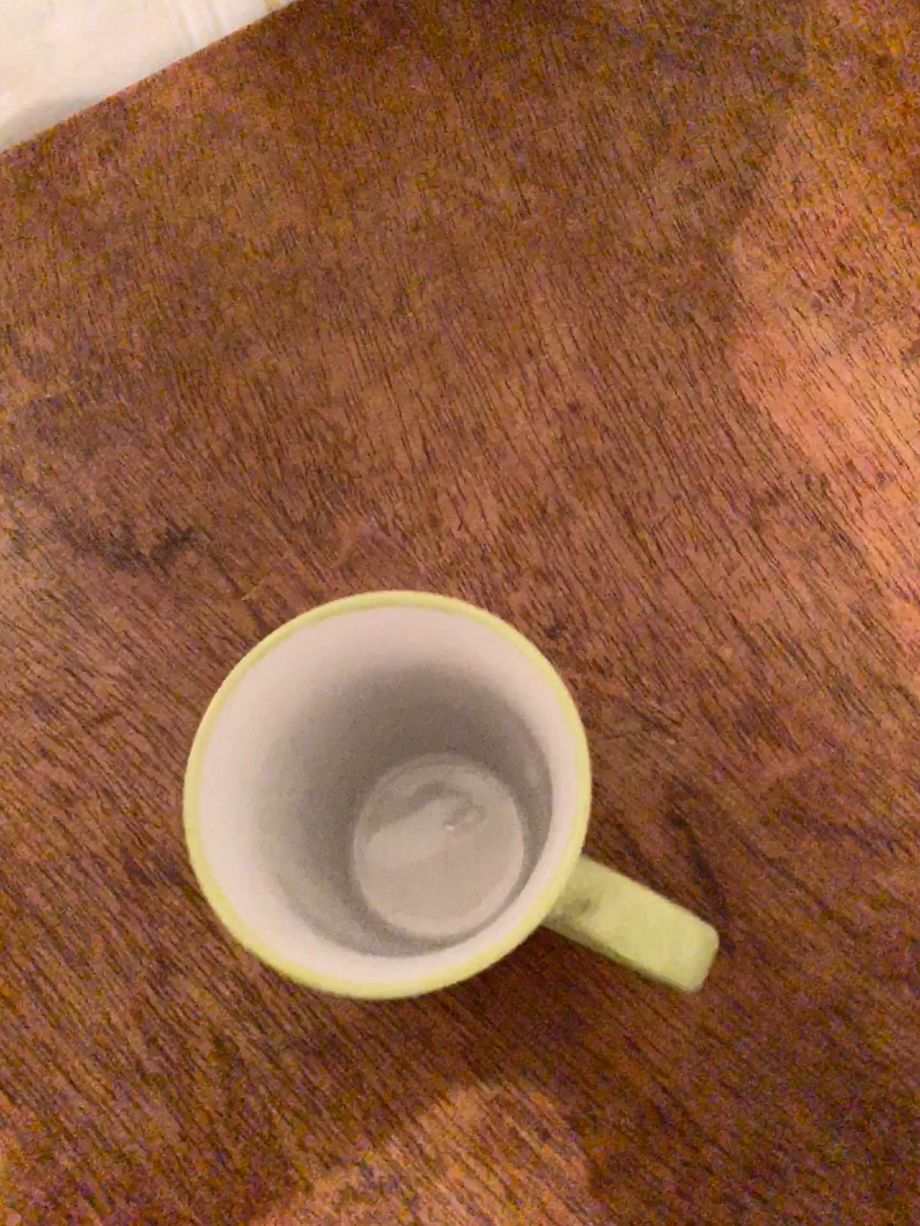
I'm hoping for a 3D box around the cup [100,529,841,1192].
[{"bbox_3d":[0.008,0.057,0.229,0.120,0.100,0.090,17,70,13],"label":"cup"}]
